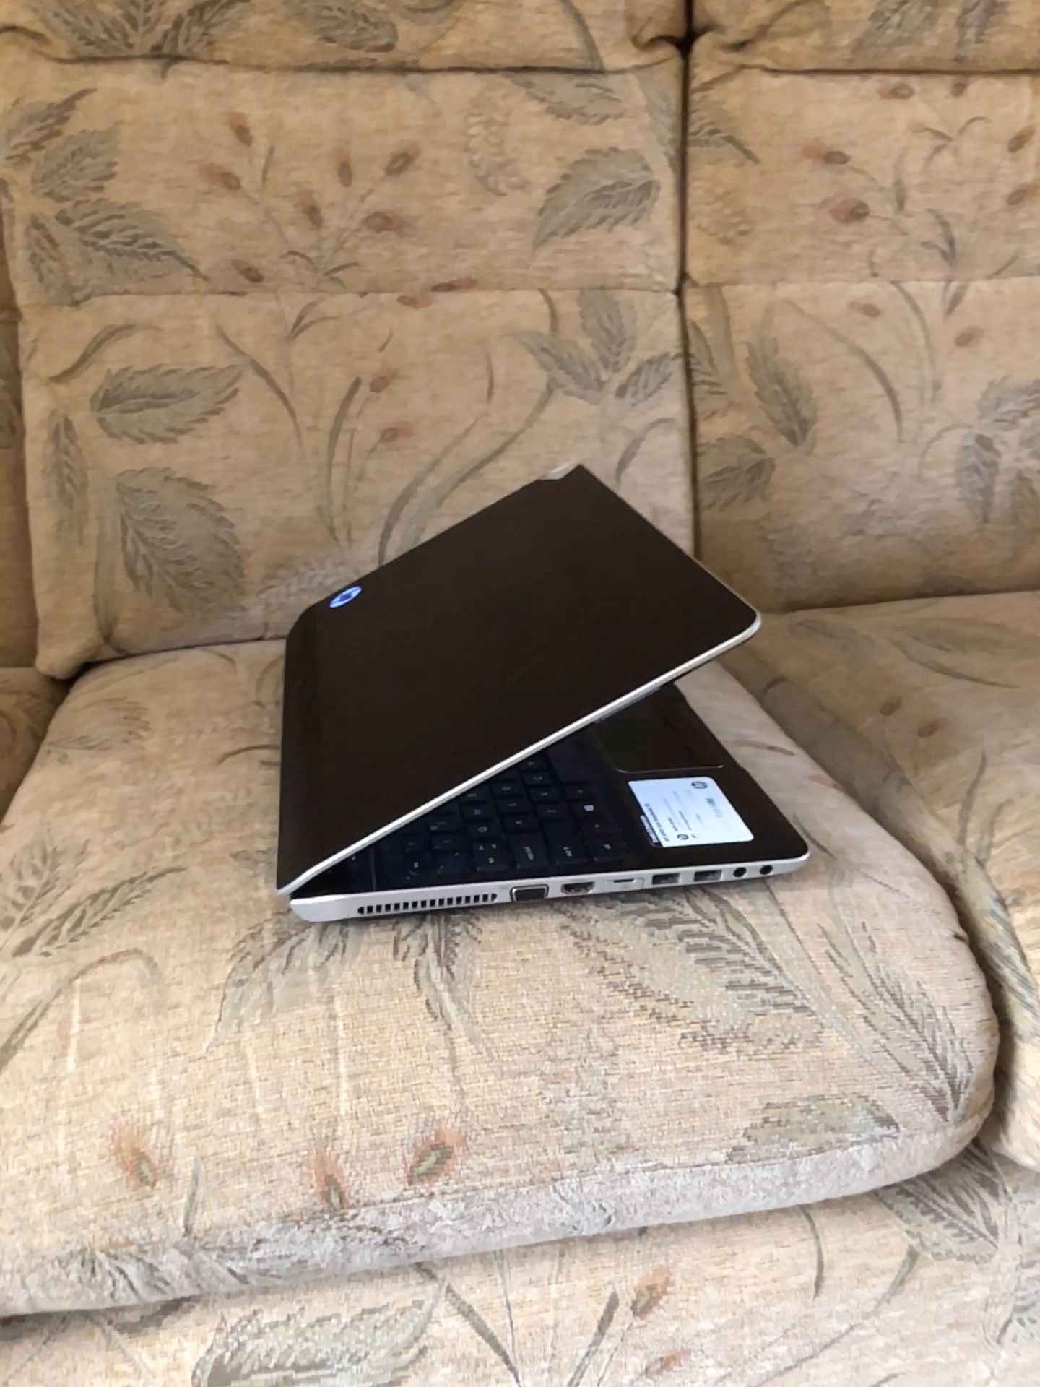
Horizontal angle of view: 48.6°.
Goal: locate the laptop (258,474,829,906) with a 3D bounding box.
[{"bbox_3d":[-0.018,-0.036,0.709,0.253,0.113,0.399,-5,23,-9],"label":"laptop"}]
